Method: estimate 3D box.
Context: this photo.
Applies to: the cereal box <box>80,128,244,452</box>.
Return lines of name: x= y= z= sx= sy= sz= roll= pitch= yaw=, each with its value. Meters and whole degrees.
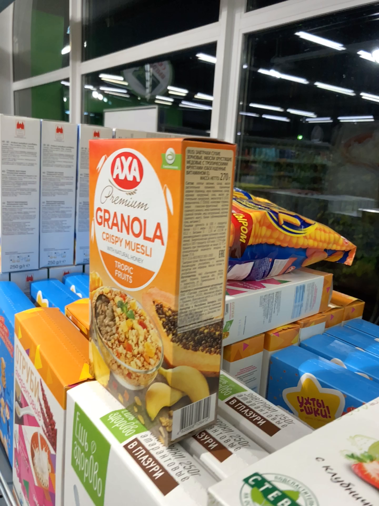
cereal box: x=-0.034 y=0.015 z=0.339 sx=0.050 sy=0.219 sz=0.140 roll=-7 pitch=16 yaw=-39
